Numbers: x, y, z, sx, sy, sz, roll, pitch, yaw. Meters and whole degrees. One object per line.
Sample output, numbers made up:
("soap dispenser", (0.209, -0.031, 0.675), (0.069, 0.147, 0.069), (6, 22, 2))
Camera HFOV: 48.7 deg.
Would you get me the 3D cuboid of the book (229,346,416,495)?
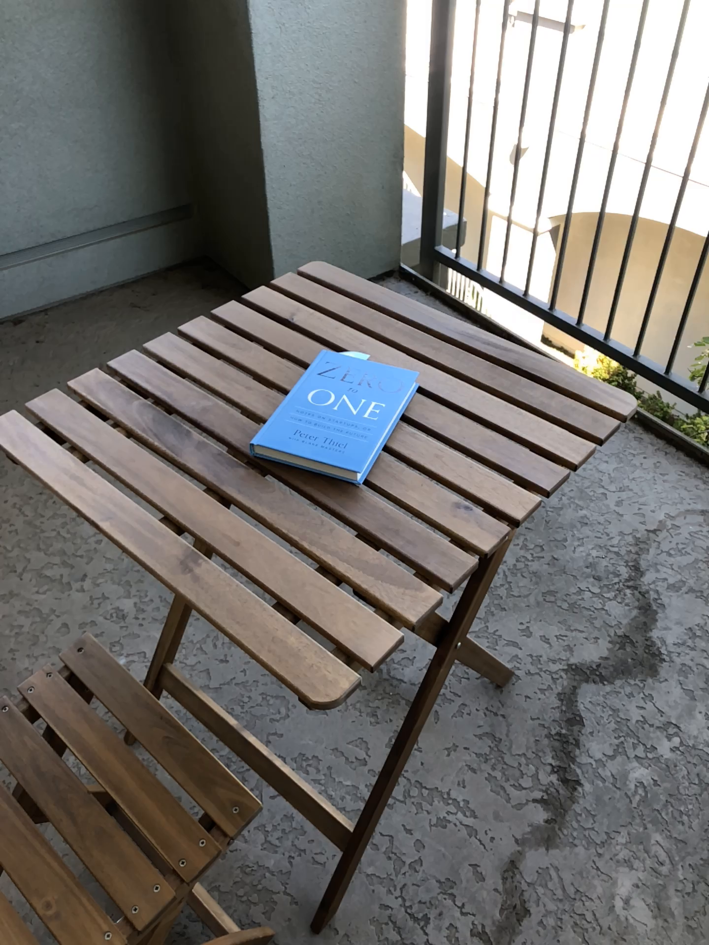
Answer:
("book", (-0.033, -0.074, 0.993), (0.160, 0.030, 0.221), (15, 45, 16))
